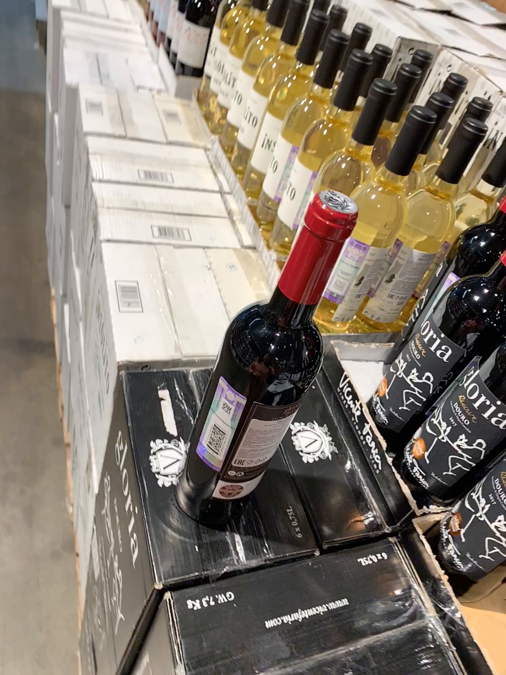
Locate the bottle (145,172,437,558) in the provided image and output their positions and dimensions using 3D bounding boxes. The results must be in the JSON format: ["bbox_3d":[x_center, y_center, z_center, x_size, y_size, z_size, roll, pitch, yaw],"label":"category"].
[{"bbox_3d":[-0.002,0.044,0.382,0.090,0.318,0.080,-11,51,-30],"label":"bottle"}]
